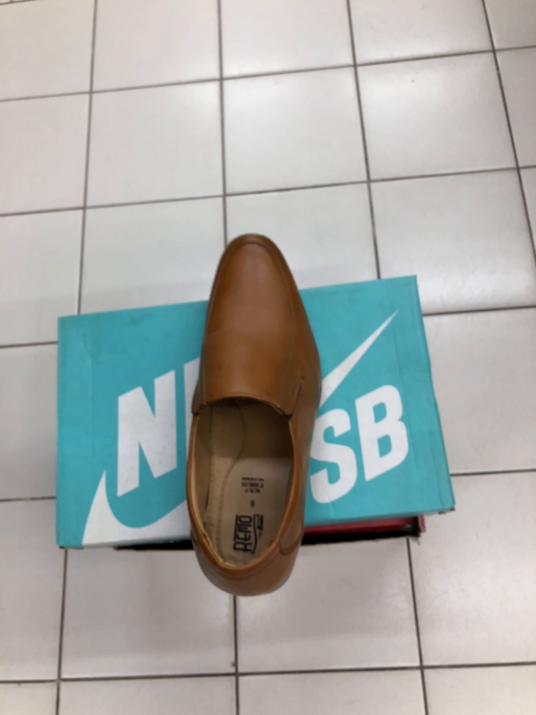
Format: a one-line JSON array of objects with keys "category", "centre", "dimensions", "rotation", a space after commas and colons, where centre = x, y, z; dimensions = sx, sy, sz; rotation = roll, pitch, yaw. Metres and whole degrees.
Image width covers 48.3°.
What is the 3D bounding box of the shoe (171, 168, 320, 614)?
[{"category": "shoe", "centre": [-0.010, 0.021, 0.454], "dimensions": [0.090, 0.100, 0.311], "rotation": [-2, 72, 5]}]
